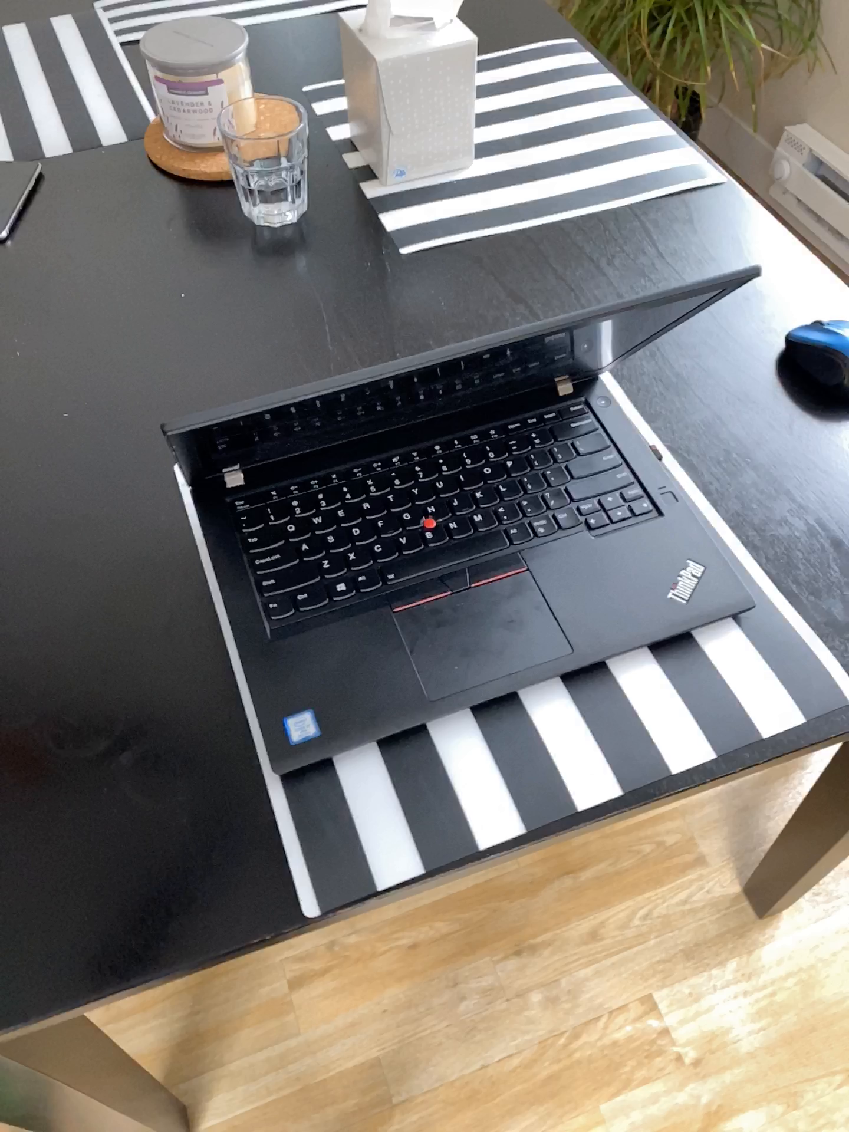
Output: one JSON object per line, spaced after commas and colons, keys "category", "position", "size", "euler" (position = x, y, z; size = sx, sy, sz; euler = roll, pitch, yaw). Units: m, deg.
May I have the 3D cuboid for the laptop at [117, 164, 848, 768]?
{"category": "laptop", "position": [0.025, -0.068, 0.511], "size": [0.321, 0.175, 0.221], "euler": [-17, 55, -12]}
